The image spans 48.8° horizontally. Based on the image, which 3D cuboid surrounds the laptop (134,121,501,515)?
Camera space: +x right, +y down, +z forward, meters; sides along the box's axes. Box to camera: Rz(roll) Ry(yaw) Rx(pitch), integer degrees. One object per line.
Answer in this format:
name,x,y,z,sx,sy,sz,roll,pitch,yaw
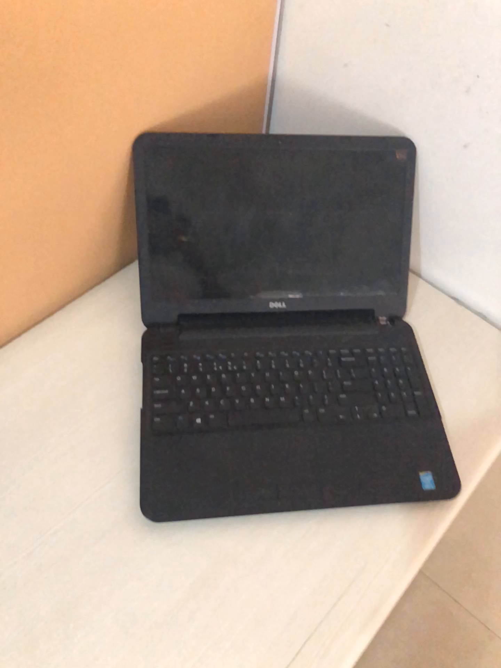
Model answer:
laptop,0.053,-0.038,0.645,0.352,0.175,0.415,-2,56,-7
